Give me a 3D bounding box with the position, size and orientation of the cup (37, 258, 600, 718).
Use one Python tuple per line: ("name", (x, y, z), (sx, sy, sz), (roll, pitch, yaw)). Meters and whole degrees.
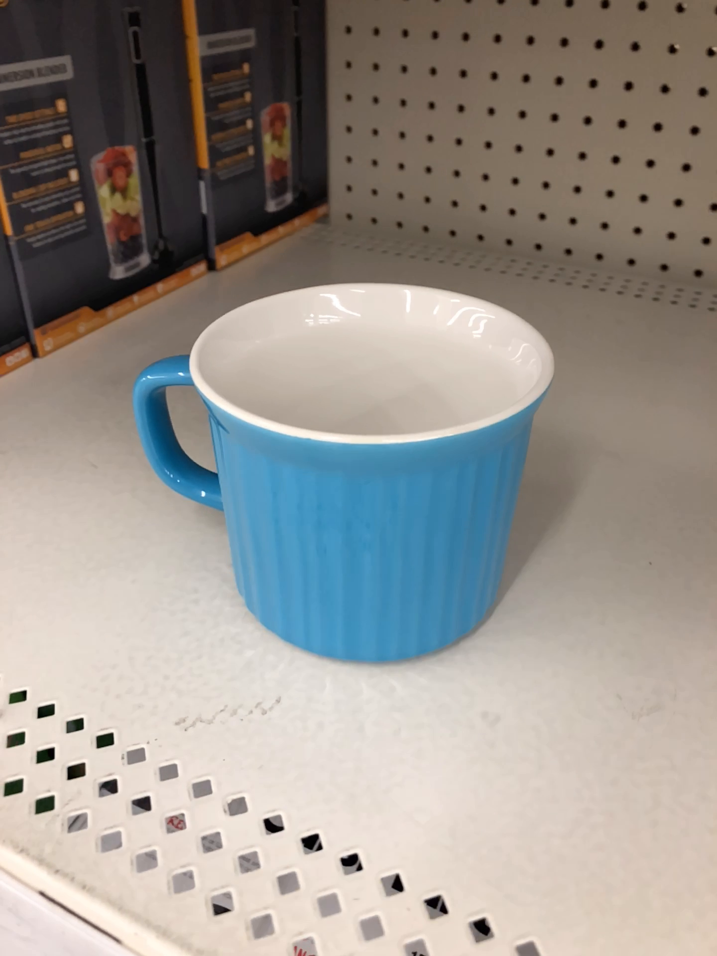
("cup", (-0.002, -0.008, 0.296), (0.161, 0.093, 0.126), (9, 35, 12))
